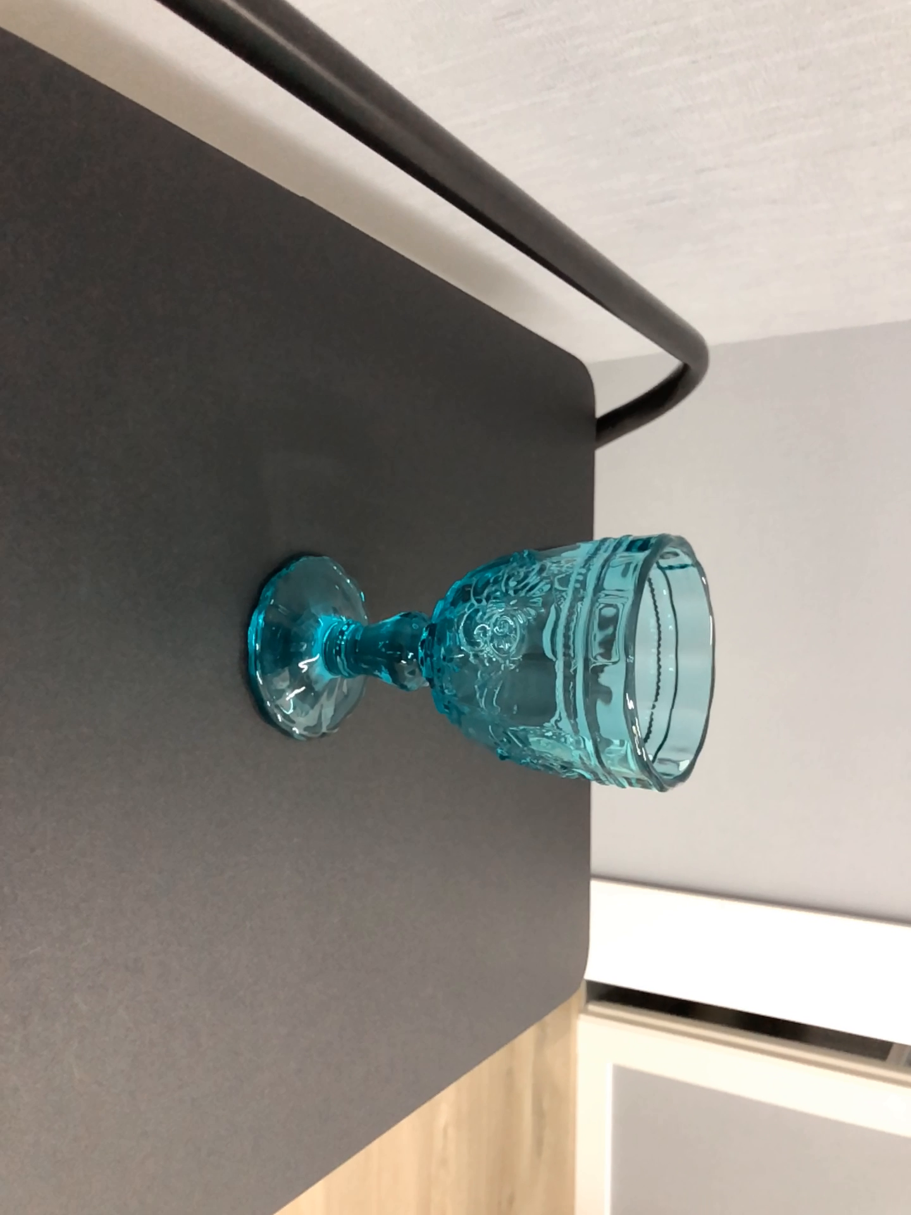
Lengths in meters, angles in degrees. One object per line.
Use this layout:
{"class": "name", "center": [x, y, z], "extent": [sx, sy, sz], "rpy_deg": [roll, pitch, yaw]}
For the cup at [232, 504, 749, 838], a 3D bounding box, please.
{"class": "cup", "center": [0.012, 0.020, 0.366], "extent": [0.085, 0.164, 0.095], "rpy_deg": [6, 85, -59]}
